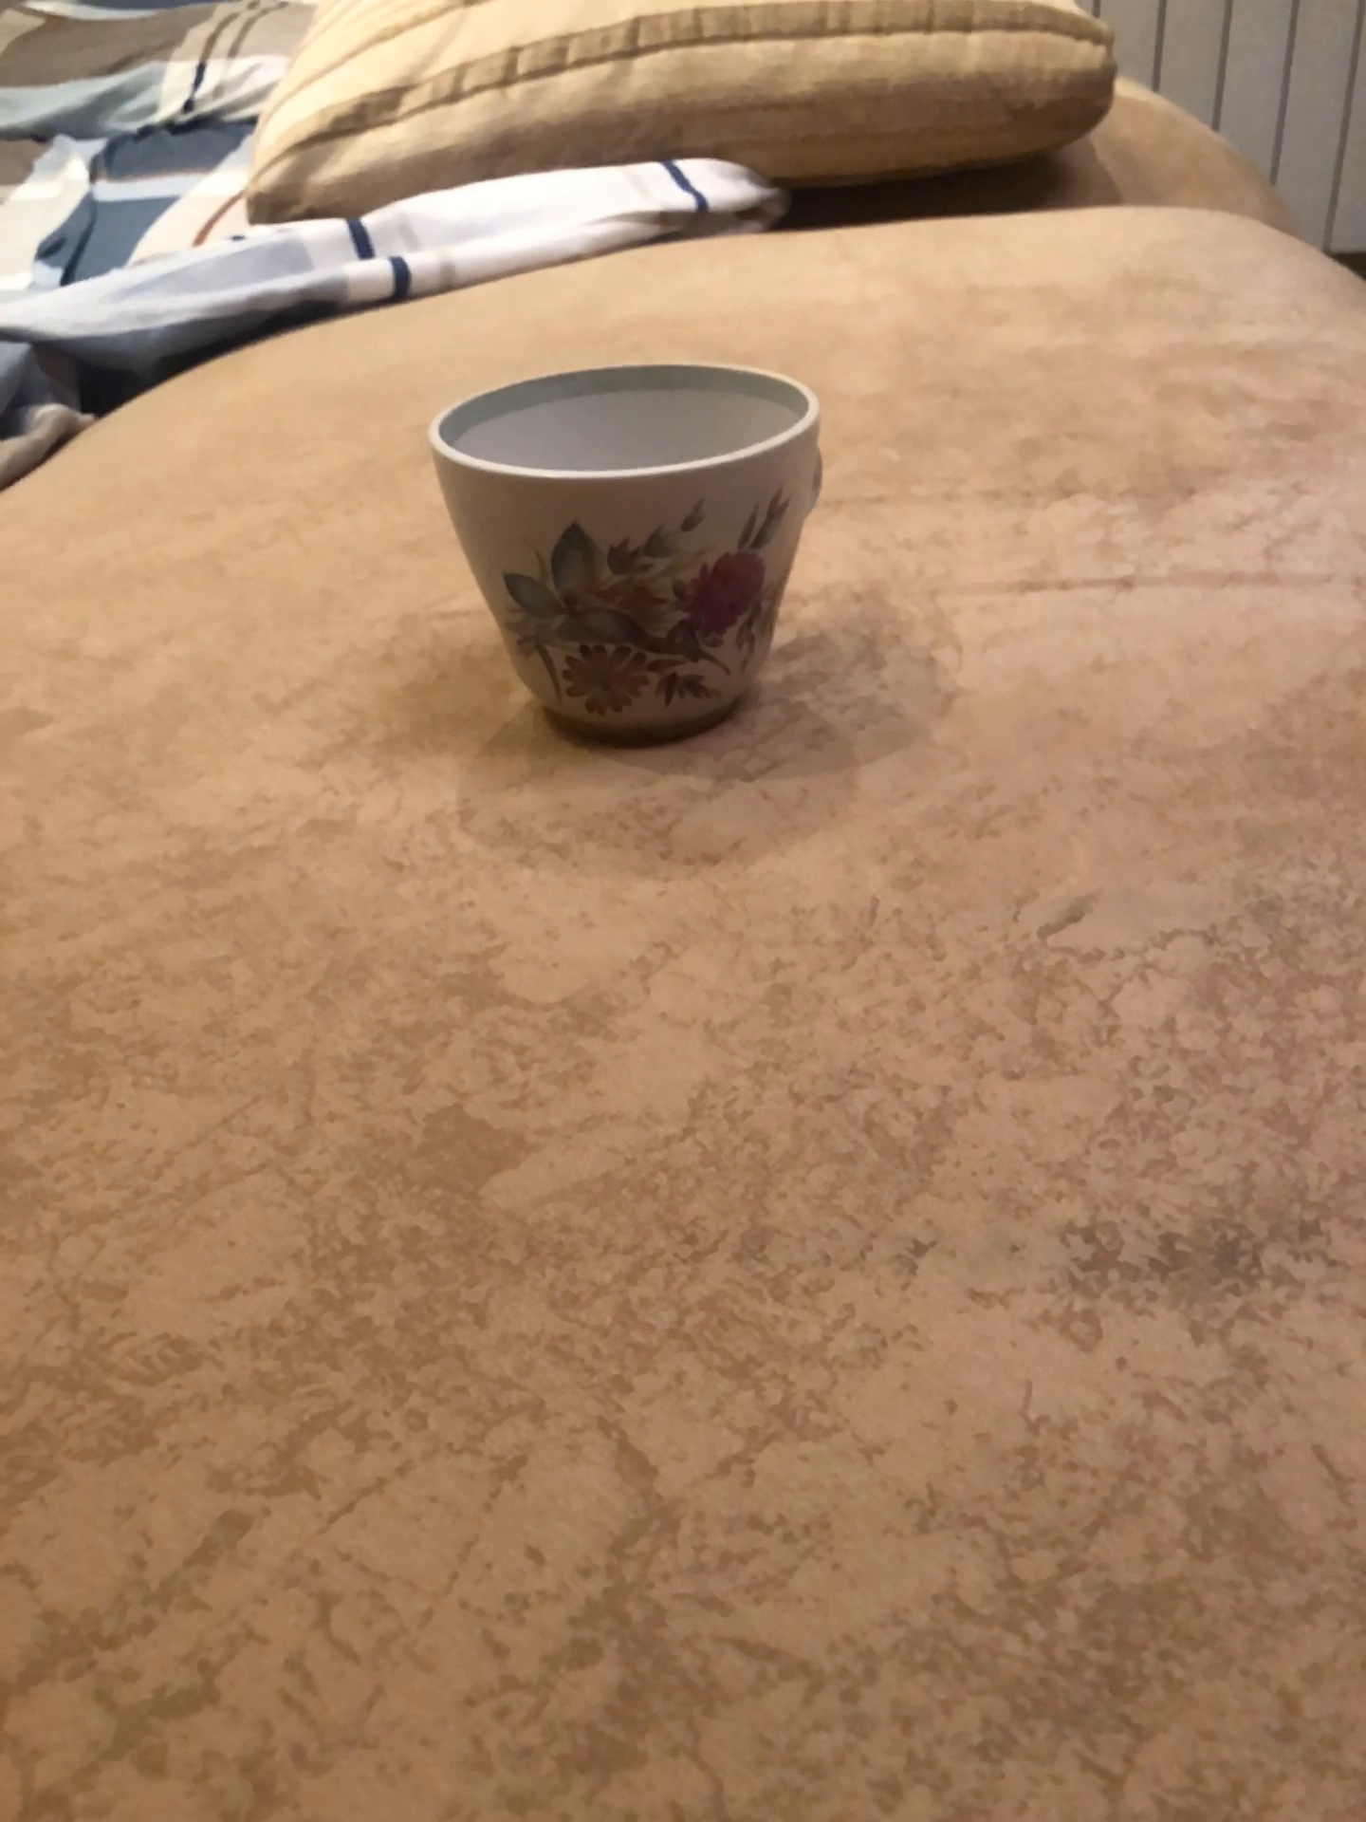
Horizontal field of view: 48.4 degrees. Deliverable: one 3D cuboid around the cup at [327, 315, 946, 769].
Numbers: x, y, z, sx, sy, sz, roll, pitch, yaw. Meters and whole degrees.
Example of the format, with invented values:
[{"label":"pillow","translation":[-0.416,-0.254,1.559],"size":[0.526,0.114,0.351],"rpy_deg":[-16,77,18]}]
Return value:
[{"label":"cup","translation":[-0.007,-0.094,0.359],"size":[0.090,0.060,0.110],"rpy_deg":[22,41,34]}]
